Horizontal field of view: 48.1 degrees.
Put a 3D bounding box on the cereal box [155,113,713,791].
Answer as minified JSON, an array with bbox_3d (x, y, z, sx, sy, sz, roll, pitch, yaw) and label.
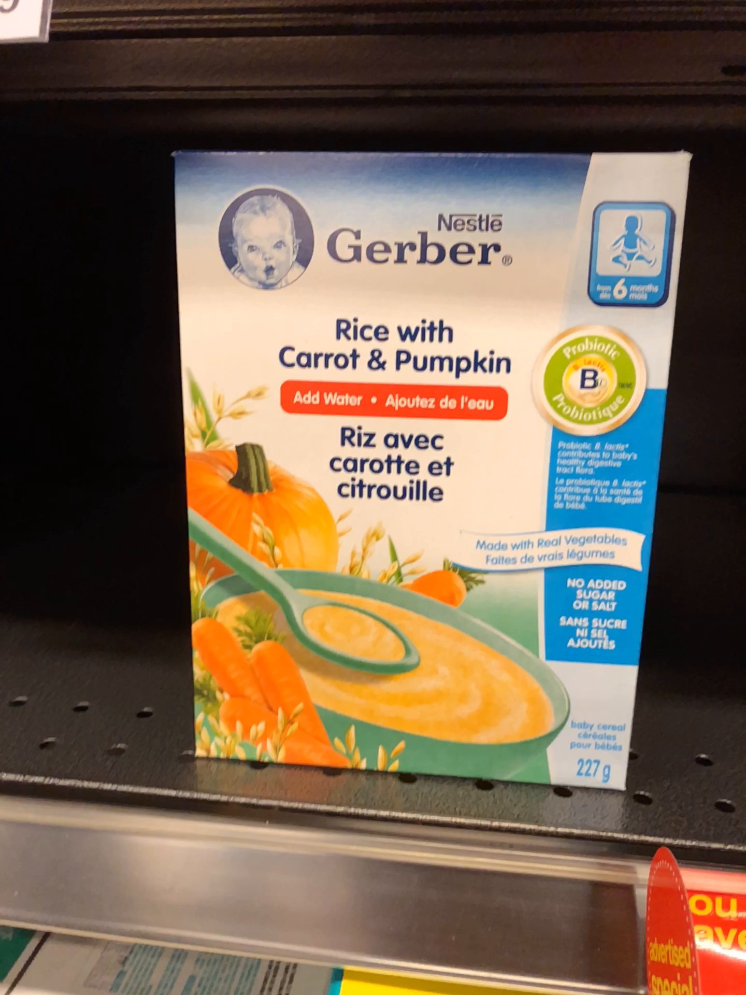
[{"bbox_3d":[0.015,-0.011,0.269,0.150,0.199,0.040,2,14,6],"label":"cereal box"}]
